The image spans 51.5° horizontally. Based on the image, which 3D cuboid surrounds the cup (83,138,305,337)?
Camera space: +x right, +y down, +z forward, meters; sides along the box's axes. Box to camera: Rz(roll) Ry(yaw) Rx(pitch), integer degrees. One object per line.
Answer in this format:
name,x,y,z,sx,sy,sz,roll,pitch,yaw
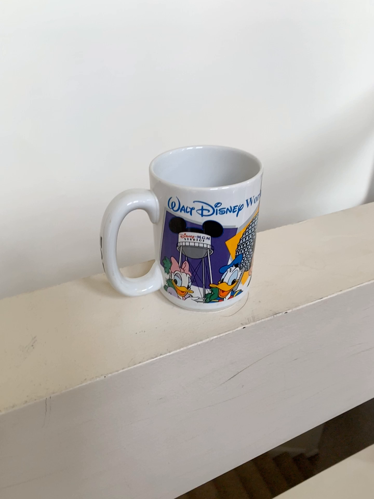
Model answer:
cup,0.001,-0.015,0.307,0.140,0.109,0.080,-11,34,-15
